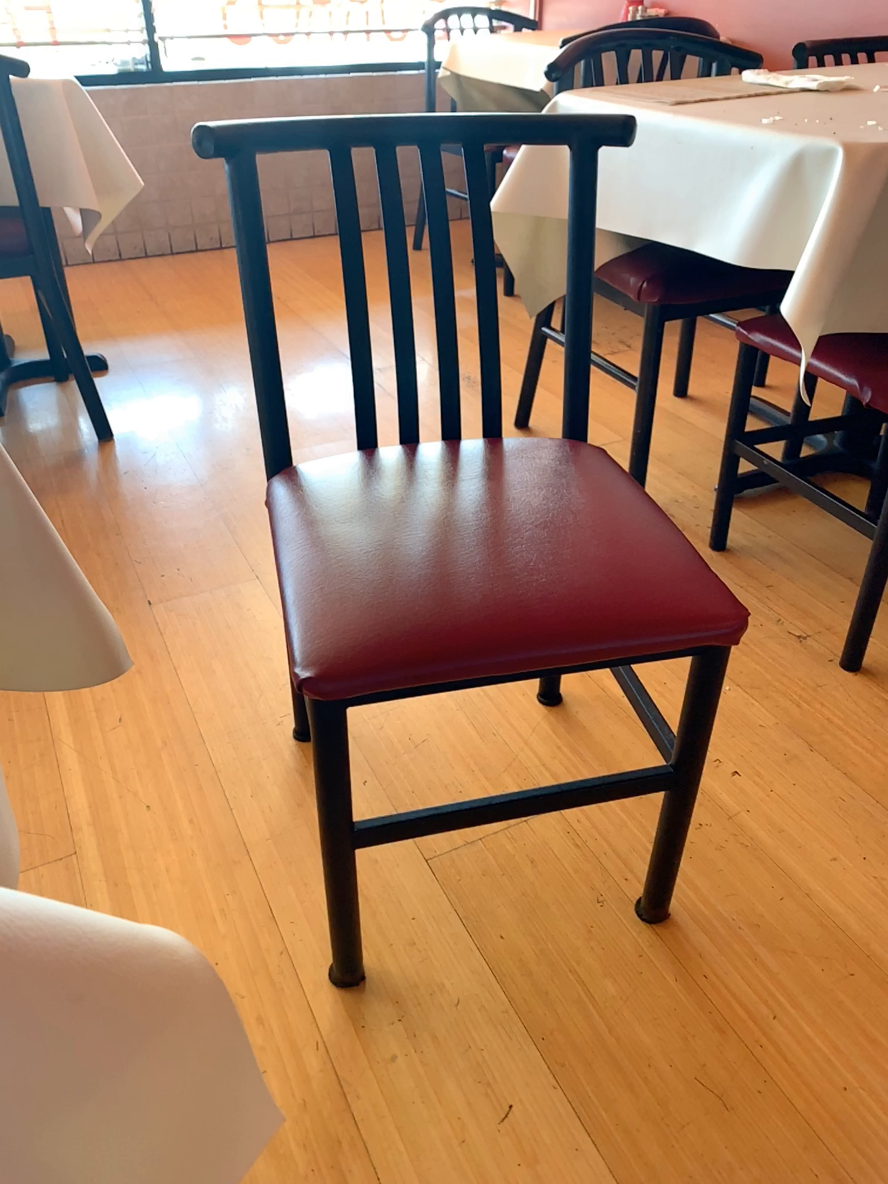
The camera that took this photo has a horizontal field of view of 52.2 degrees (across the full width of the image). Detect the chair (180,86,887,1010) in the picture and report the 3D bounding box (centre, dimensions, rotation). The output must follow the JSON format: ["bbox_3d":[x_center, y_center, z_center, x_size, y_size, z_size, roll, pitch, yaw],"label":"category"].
[{"bbox_3d":[0.021,-0.087,0.953,0.480,0.726,0.573,-6,34,-14],"label":"chair"}]
